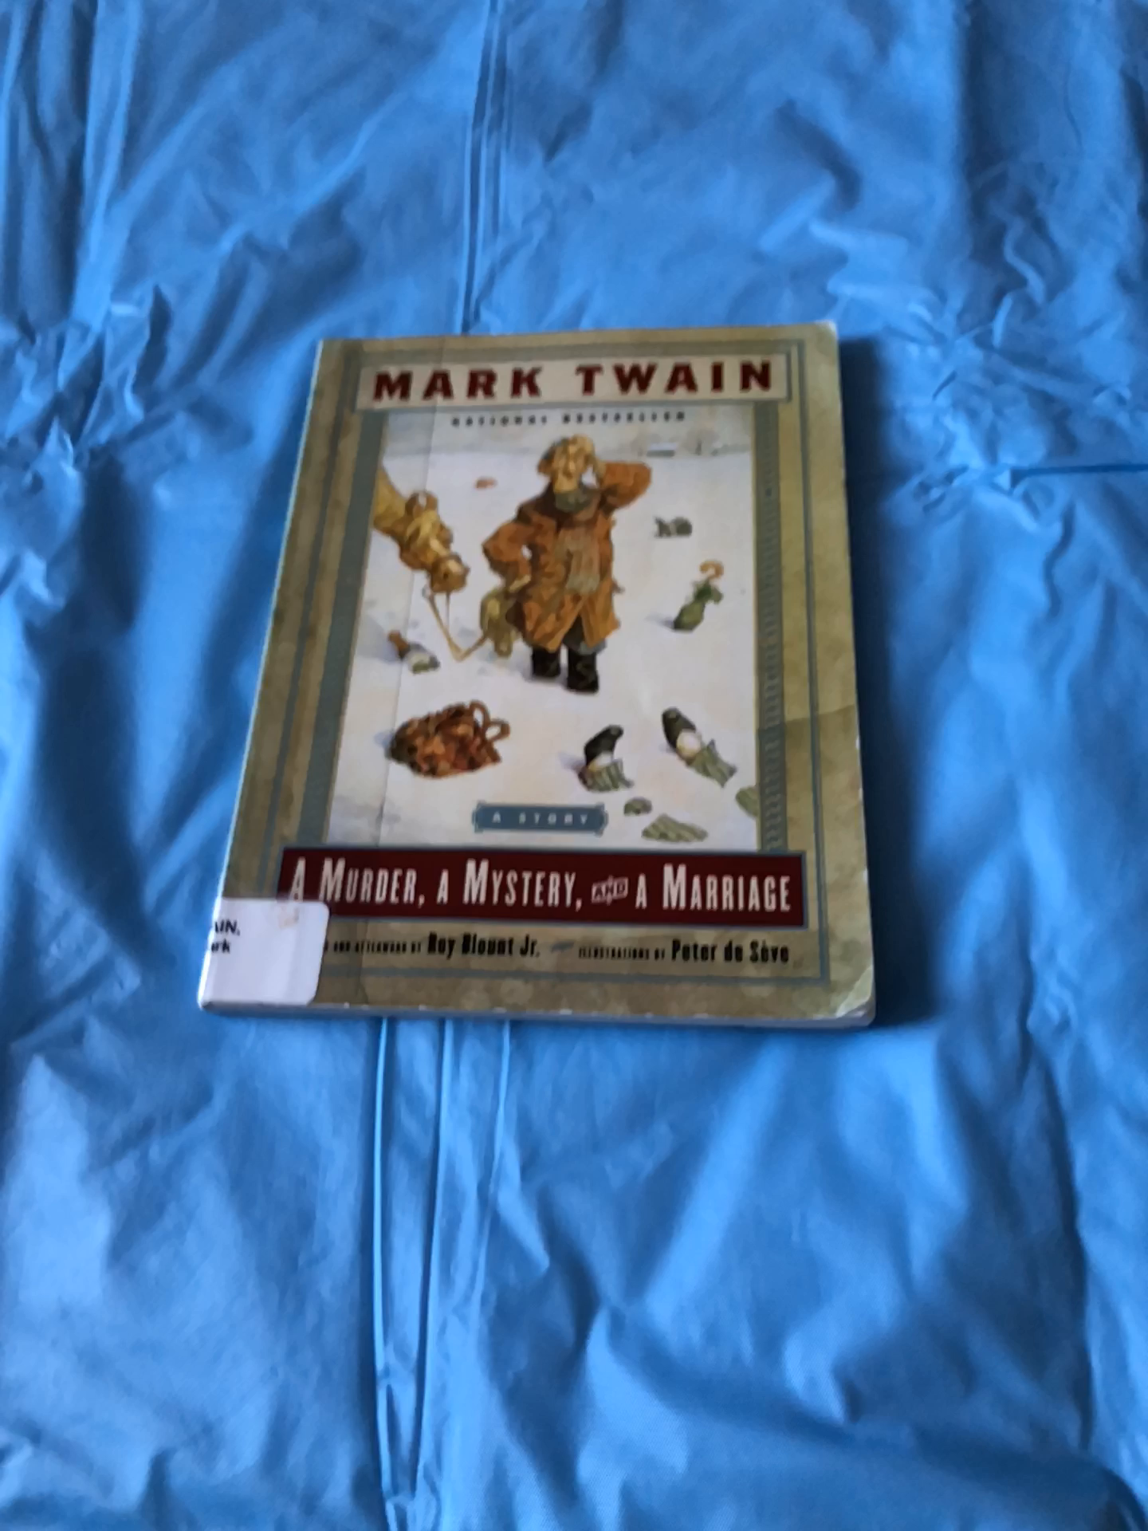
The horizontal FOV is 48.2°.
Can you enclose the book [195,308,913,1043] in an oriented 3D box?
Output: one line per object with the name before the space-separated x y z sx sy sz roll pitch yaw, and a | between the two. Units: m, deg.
book | -0.001 -0.035 0.341 0.160 0.020 0.210 0 63 5
